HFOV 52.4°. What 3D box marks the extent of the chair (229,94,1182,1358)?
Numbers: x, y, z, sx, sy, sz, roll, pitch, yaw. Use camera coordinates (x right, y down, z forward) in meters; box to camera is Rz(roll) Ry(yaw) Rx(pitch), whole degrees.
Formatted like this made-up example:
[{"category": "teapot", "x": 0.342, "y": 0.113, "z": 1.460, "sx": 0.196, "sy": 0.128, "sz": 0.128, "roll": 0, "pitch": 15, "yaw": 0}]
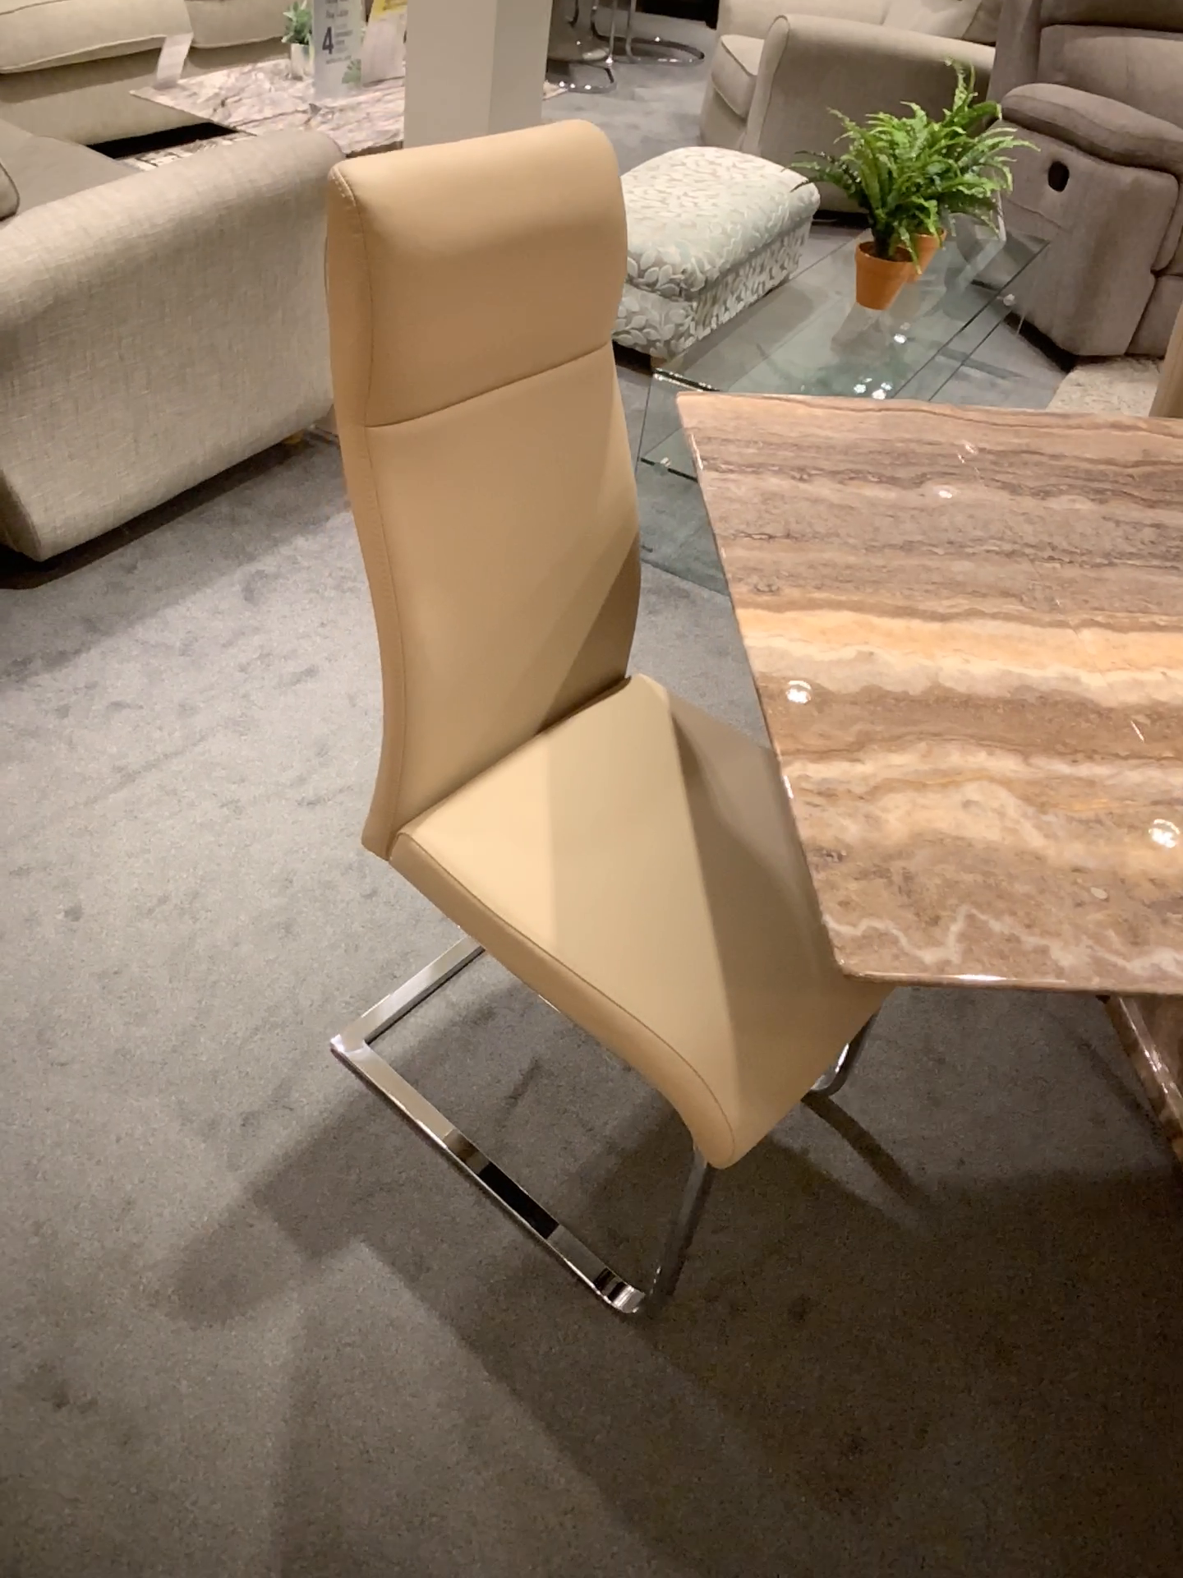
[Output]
[{"category": "chair", "x": 0.074, "y": -0.044, "z": 1.204, "sx": 0.585, "sy": 0.981, "sz": 0.530, "roll": 33, "pitch": 46, "yaw": 24}]
